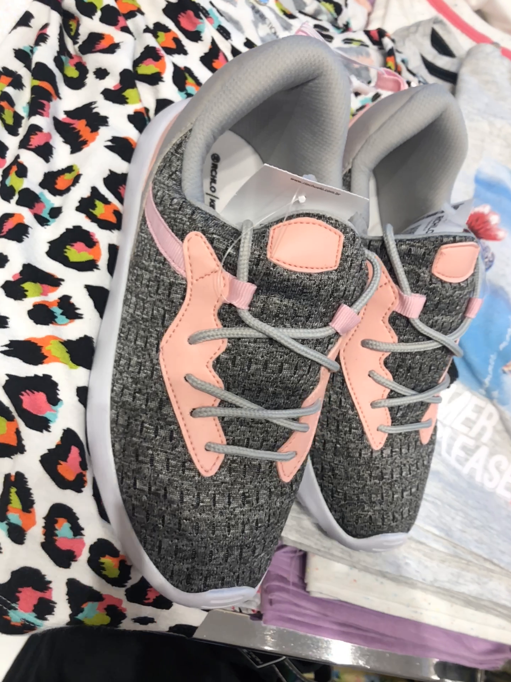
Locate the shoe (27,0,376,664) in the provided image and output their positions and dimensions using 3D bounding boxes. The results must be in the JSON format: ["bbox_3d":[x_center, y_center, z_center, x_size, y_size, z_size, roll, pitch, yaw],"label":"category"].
[{"bbox_3d":[-0.024,-0.010,0.238,0.100,0.099,0.220,7,77,-28],"label":"shoe"}]

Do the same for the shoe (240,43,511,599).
[{"bbox_3d":[0.062,-0.005,0.279,0.100,0.099,0.210,4,79,-29],"label":"shoe"}]
